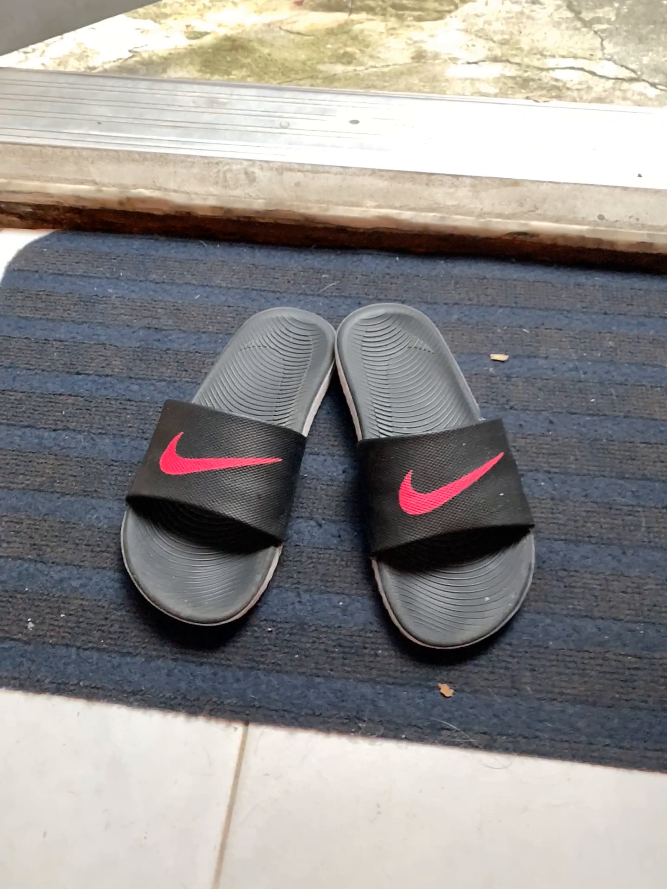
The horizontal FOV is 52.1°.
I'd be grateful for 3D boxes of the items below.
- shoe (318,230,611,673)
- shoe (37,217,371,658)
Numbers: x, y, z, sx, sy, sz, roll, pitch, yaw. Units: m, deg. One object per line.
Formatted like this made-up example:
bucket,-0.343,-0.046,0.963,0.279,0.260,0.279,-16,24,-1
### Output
shoe,0.058,-0.009,0.406,0.099,0.078,0.251,-7,57,-5
shoe,-0.057,-0.018,0.412,0.099,0.078,0.251,13,57,9
